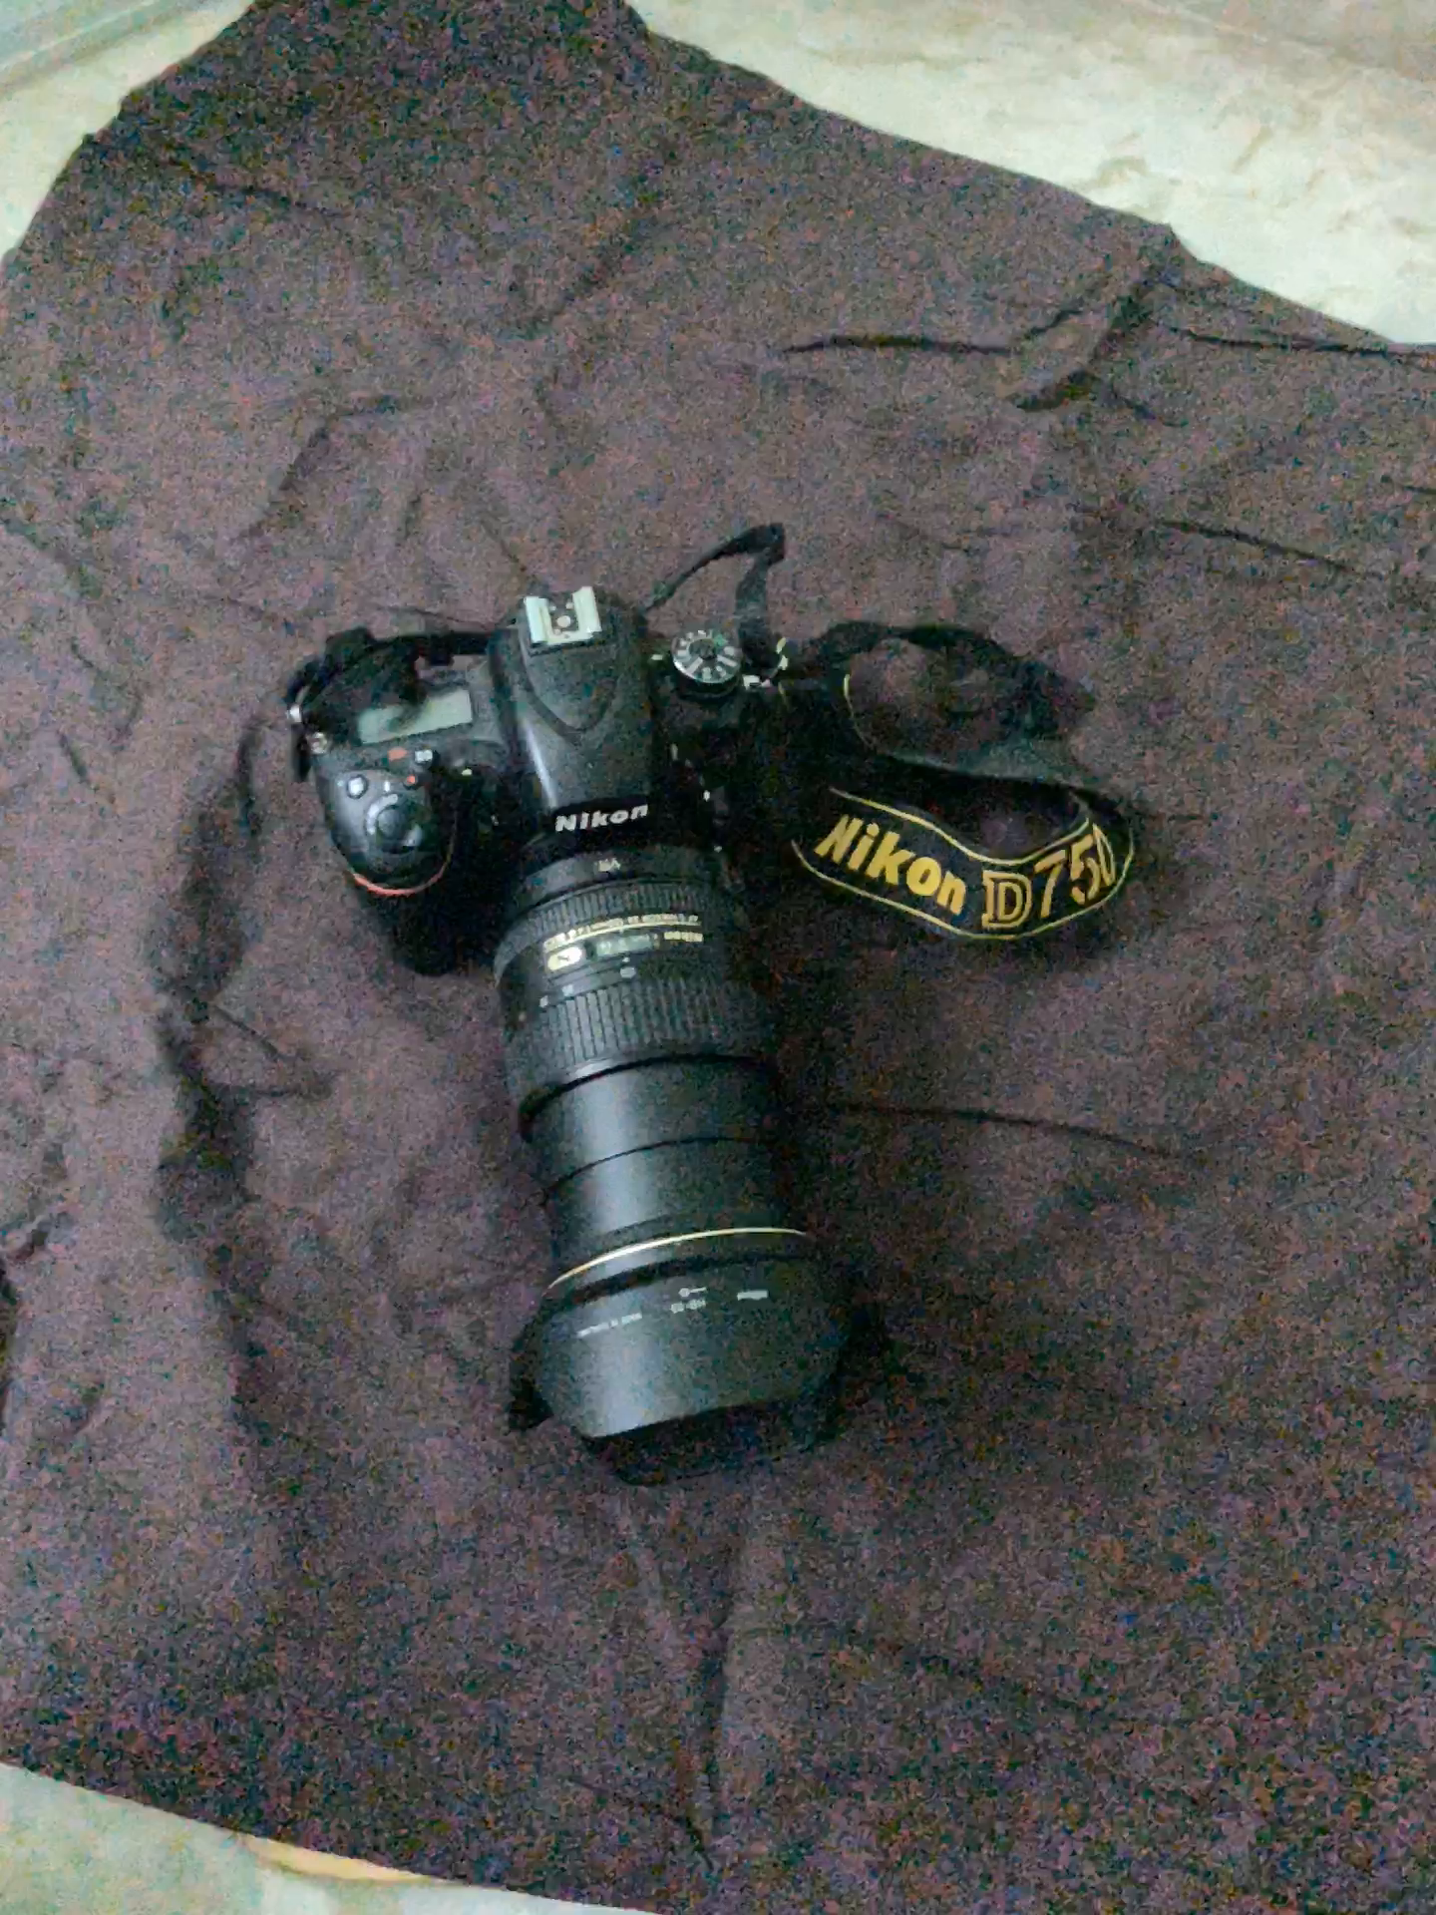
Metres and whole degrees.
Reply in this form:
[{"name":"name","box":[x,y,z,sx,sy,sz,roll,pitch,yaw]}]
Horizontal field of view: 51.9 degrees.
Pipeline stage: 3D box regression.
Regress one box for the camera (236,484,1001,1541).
[{"name":"camera","box":[-0.040,0.011,0.448,0.161,0.100,0.279,-10,67,-6]}]
